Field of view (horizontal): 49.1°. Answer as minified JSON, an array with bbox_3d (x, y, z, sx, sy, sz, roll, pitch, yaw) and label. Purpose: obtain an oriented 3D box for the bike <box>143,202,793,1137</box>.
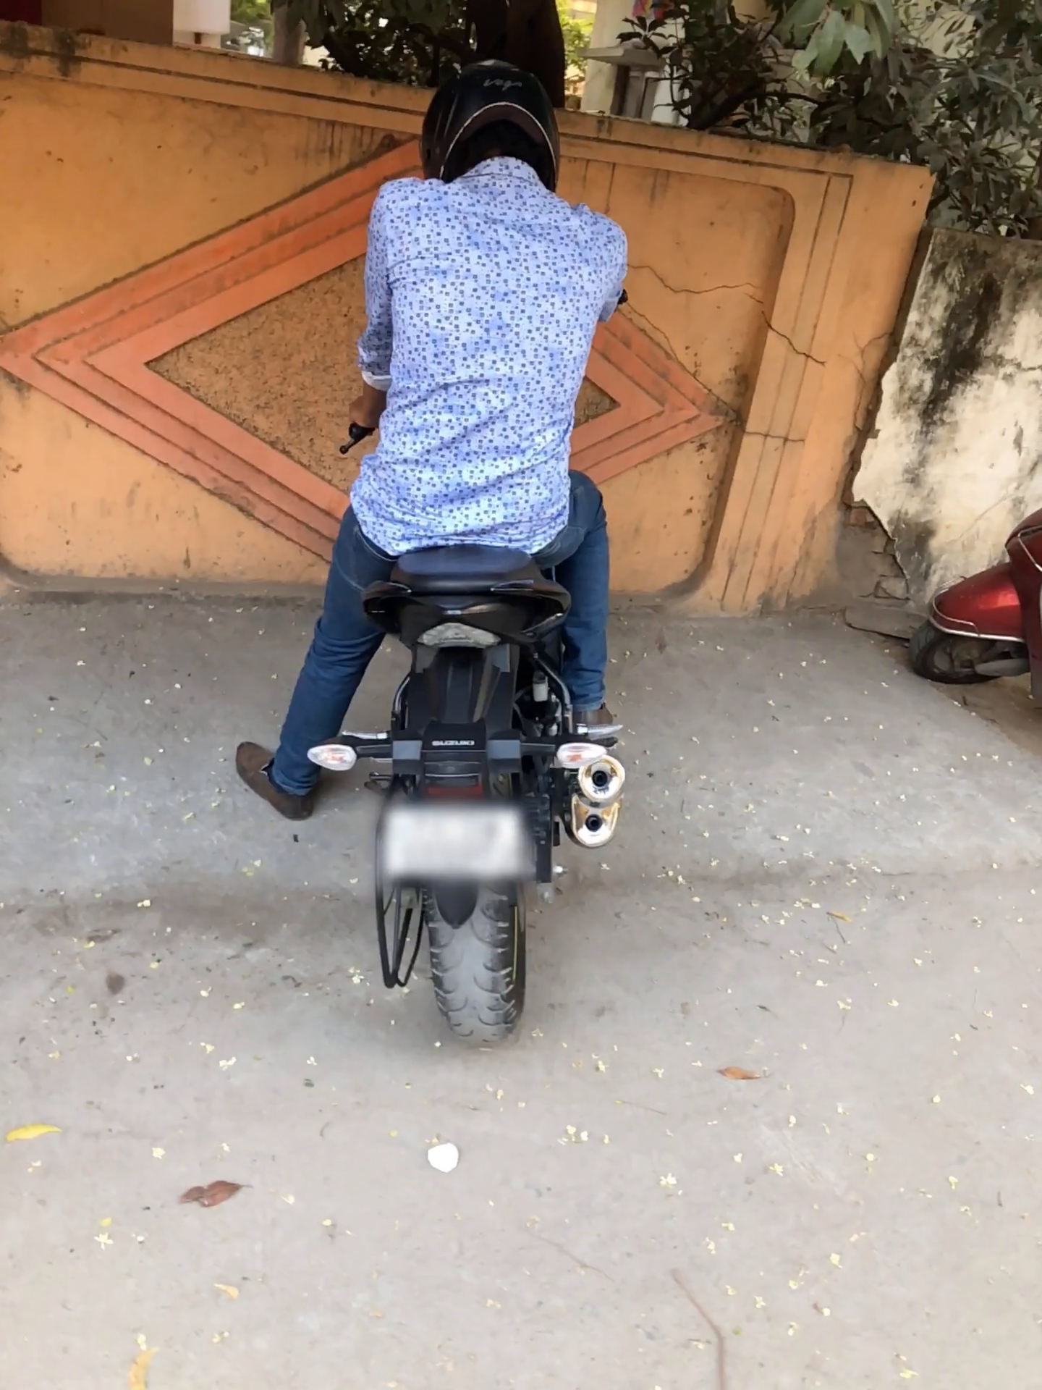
[{"bbox_3d":[-0.238,-0.278,2.487,0.793,1.187,1.900,6,27,-8],"label":"bike"}]
